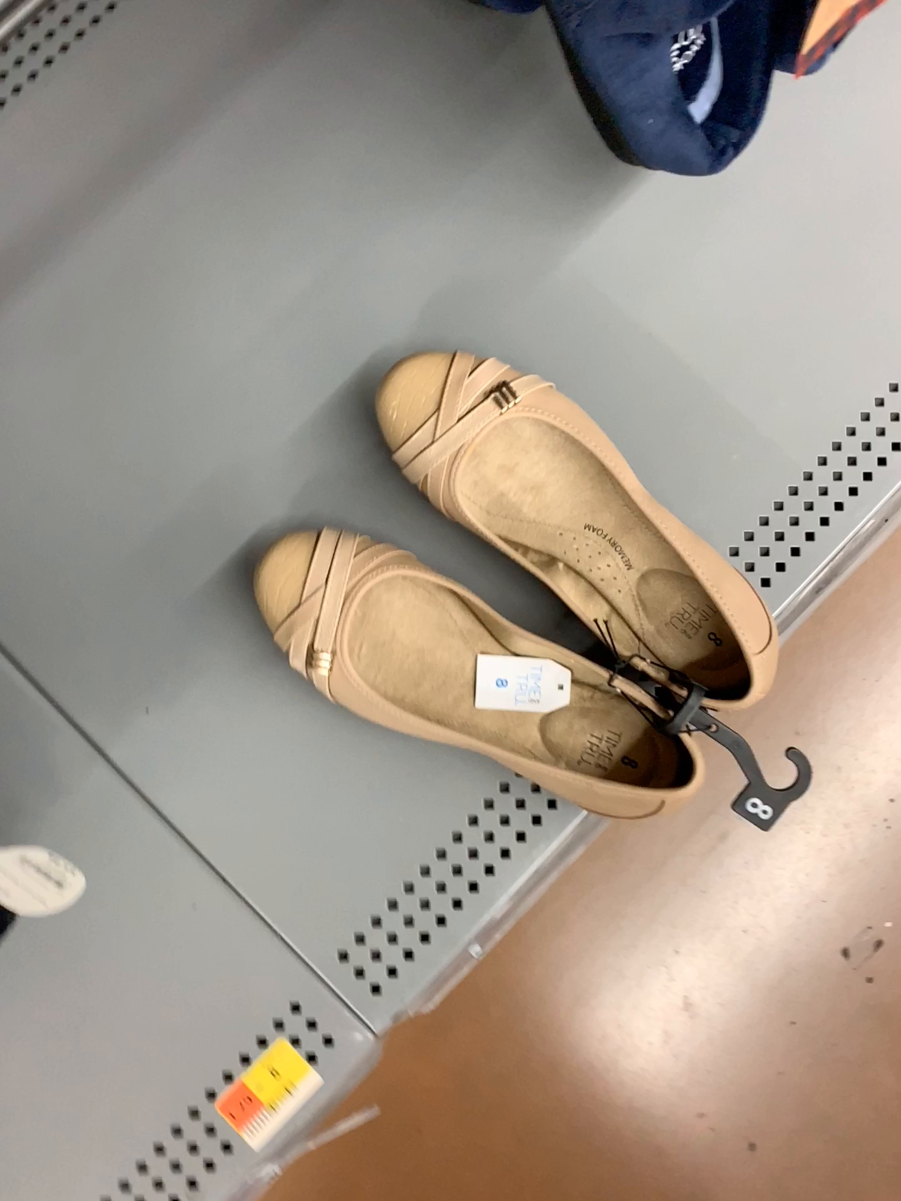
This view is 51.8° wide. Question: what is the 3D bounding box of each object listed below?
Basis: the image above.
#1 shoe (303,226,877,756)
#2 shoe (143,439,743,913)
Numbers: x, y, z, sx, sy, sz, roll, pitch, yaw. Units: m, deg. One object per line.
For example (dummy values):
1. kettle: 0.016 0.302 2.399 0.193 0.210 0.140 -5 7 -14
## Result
1. shoe: 0.066 -0.051 0.497 0.280 0.100 0.100 41 85 2
2. shoe: -0.005 0.039 0.500 0.280 0.100 0.100 31 84 1
